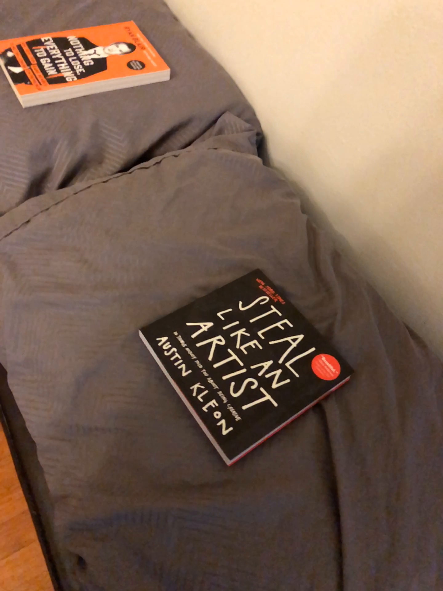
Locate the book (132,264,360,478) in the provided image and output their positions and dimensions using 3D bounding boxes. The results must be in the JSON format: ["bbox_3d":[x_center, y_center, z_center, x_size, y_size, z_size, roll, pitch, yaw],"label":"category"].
[{"bbox_3d":[0.022,0.062,0.482,0.160,0.020,0.160,-28,63,-23],"label":"book"}]
